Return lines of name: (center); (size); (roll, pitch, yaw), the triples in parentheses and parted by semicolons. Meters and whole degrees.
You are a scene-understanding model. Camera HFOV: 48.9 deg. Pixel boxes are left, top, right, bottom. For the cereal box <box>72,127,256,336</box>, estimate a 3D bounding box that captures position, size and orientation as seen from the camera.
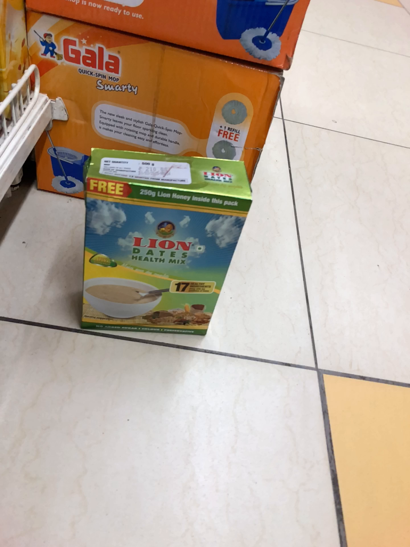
cereal box: (-0.060, -0.029, 0.501); (0.160, 0.229, 0.070); (4, 46, -14)
